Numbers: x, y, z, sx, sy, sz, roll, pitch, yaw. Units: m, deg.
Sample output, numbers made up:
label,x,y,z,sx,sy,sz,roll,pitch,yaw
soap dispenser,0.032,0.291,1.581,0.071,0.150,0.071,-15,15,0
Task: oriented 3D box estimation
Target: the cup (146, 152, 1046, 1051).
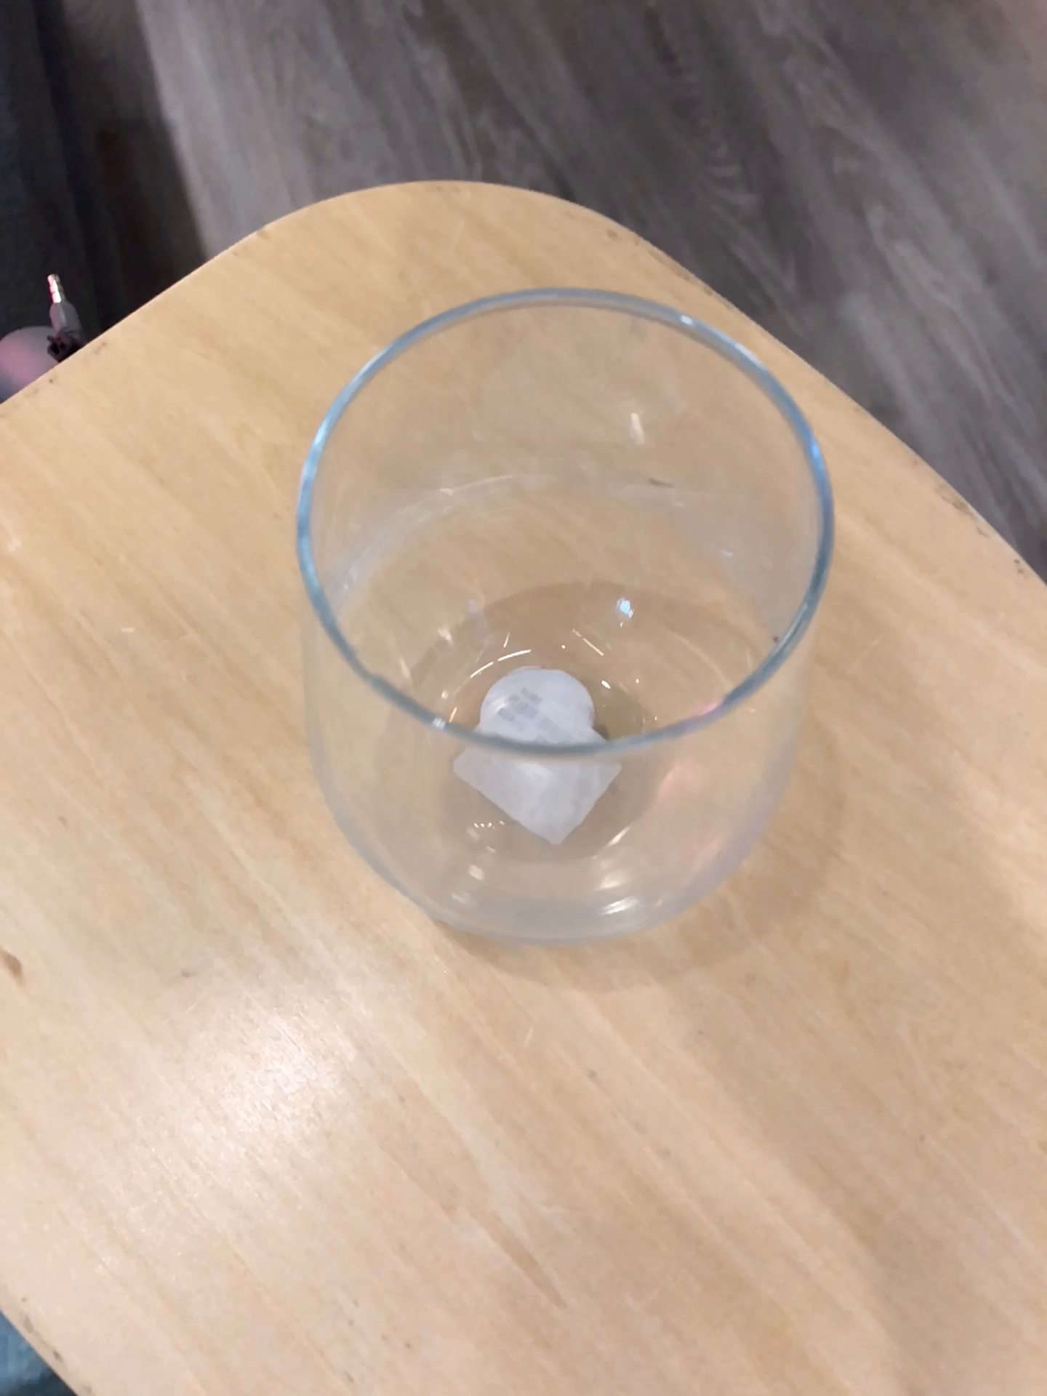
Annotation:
label,x,y,z,sx,sy,sz,roll,pitch,yaw
cup,0.007,-0.006,0.193,0.090,0.100,0.090,1,69,-2
